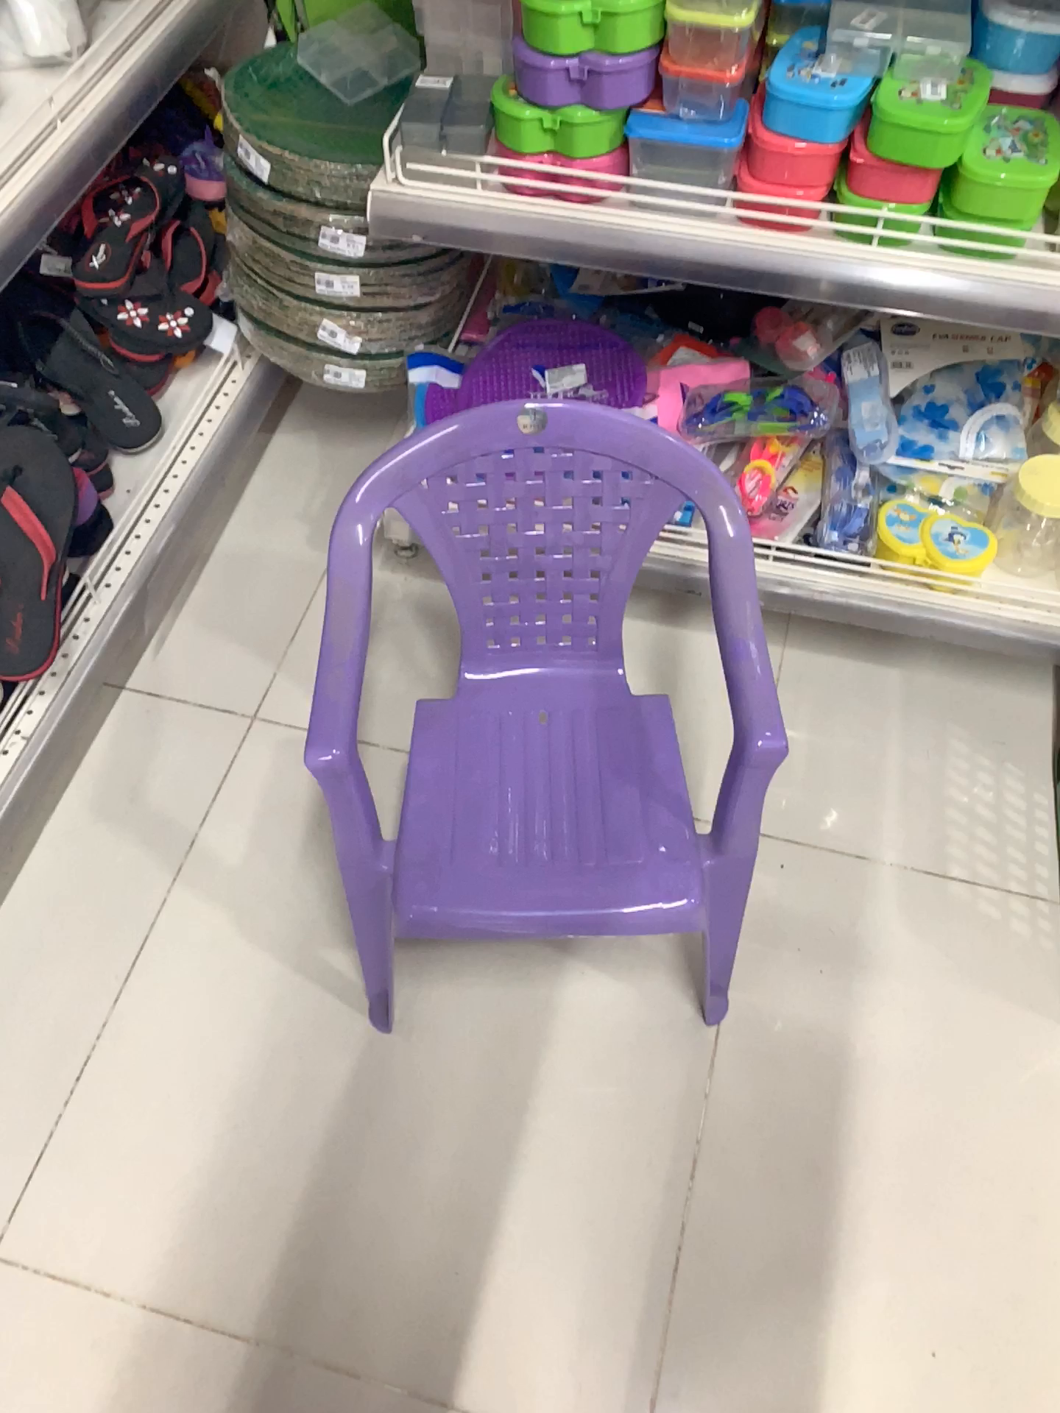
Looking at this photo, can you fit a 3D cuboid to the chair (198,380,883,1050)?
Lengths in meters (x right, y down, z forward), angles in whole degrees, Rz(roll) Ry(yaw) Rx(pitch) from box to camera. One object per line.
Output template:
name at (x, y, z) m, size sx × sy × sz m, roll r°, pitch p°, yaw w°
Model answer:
chair at (0.002, 0.028, 0.949) m, size 0.420 × 0.429 × 0.401 m, roll -3°, pitch 56°, yaw 0°
